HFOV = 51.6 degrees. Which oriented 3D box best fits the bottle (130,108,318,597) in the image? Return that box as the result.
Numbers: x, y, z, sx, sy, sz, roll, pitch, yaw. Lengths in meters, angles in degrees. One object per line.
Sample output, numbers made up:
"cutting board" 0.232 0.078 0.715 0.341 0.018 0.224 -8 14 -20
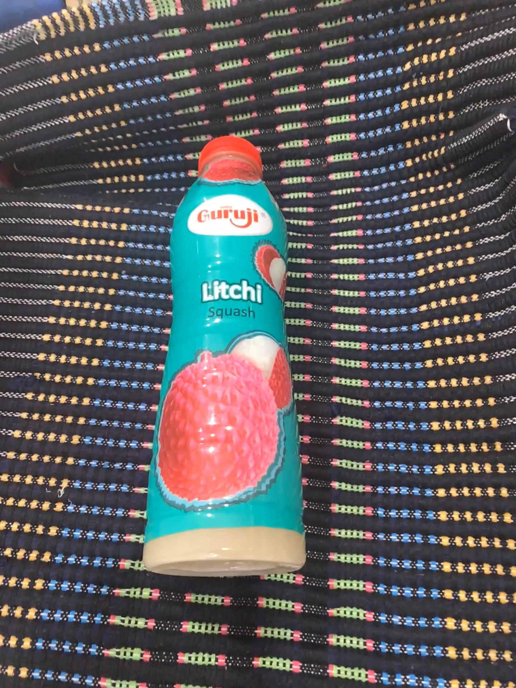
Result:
"bottle" -0.019 -0.014 0.308 0.070 0.080 0.281 0 57 -4
